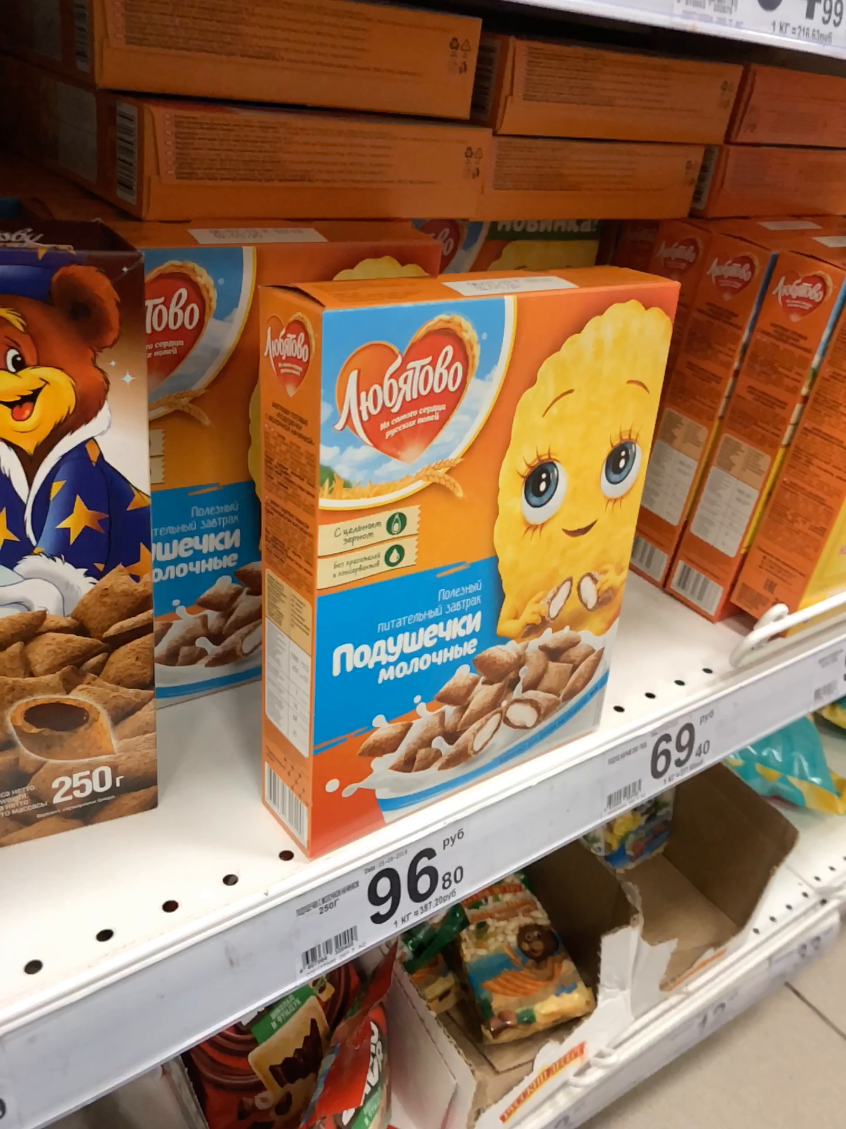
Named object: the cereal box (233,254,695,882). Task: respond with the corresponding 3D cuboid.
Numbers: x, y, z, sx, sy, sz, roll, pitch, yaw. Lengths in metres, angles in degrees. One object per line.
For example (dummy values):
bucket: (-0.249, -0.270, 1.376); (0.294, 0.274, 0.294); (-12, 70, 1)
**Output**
cereal box: (0.014, -0.005, 0.393); (0.180, 0.229, 0.050); (-15, 33, -36)
